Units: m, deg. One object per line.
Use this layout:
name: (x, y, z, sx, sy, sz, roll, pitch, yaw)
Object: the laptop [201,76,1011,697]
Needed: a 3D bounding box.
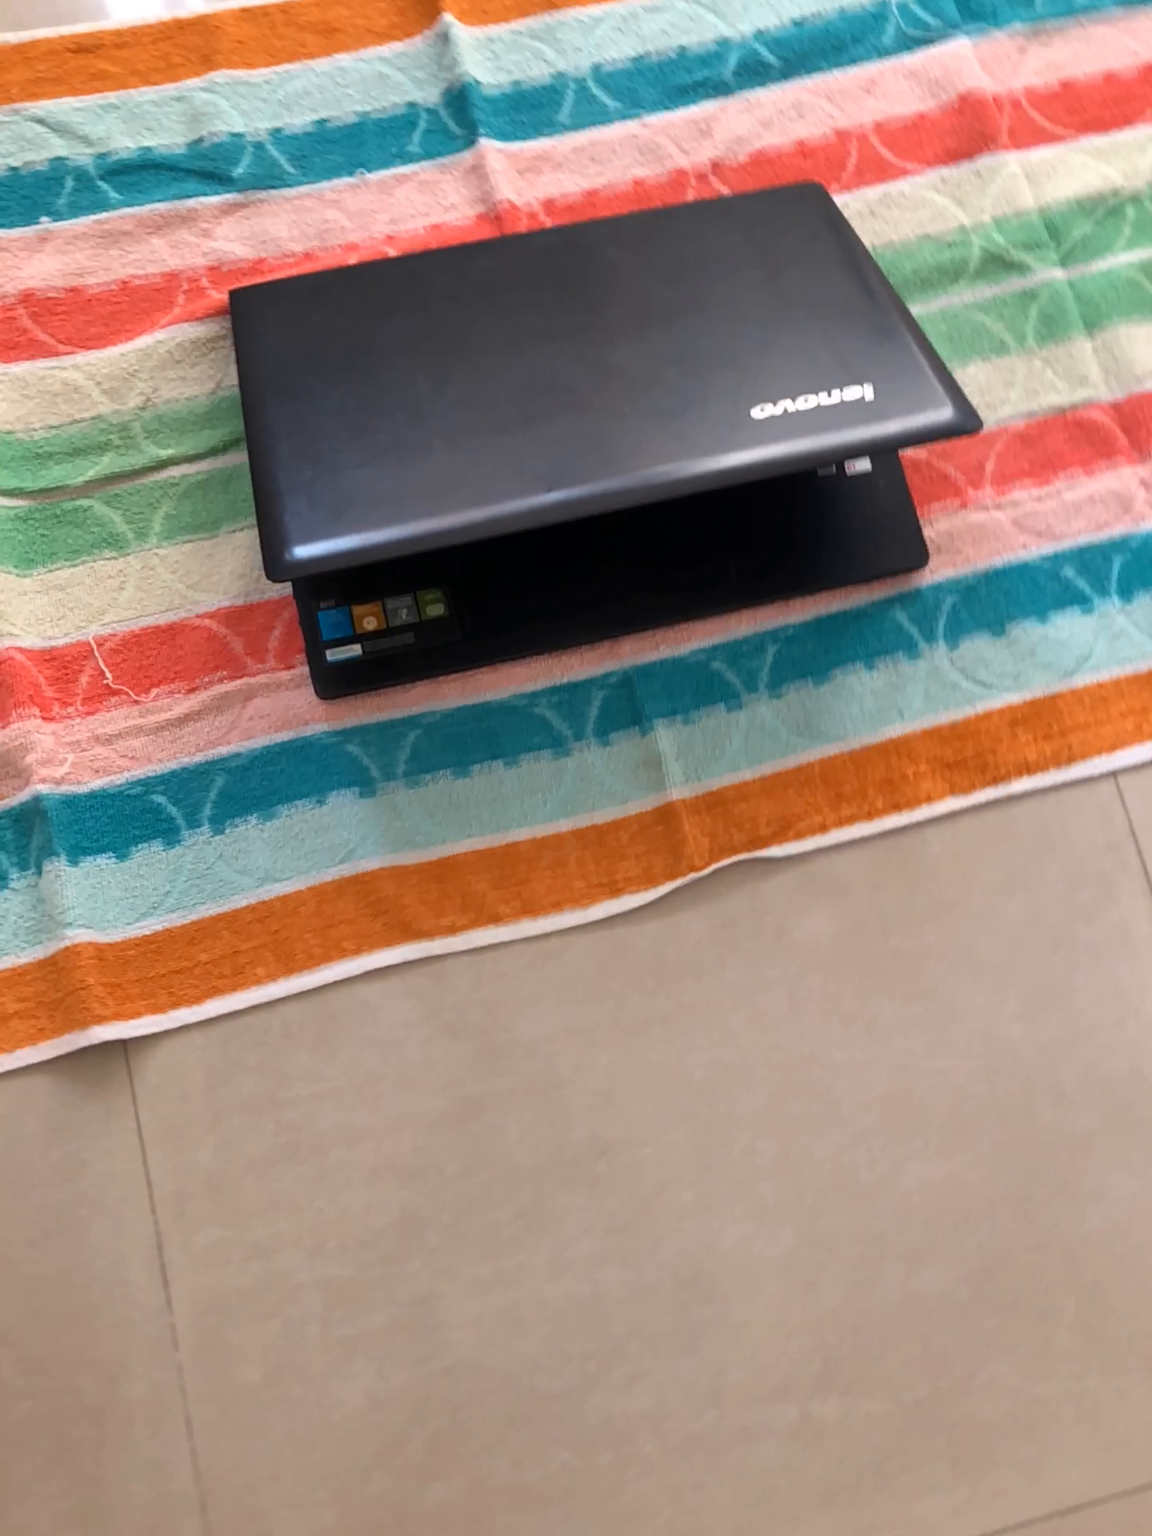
laptop: (0.009, -0.211, 0.709, 0.363, 0.126, 0.253, -12, 76, -6)
